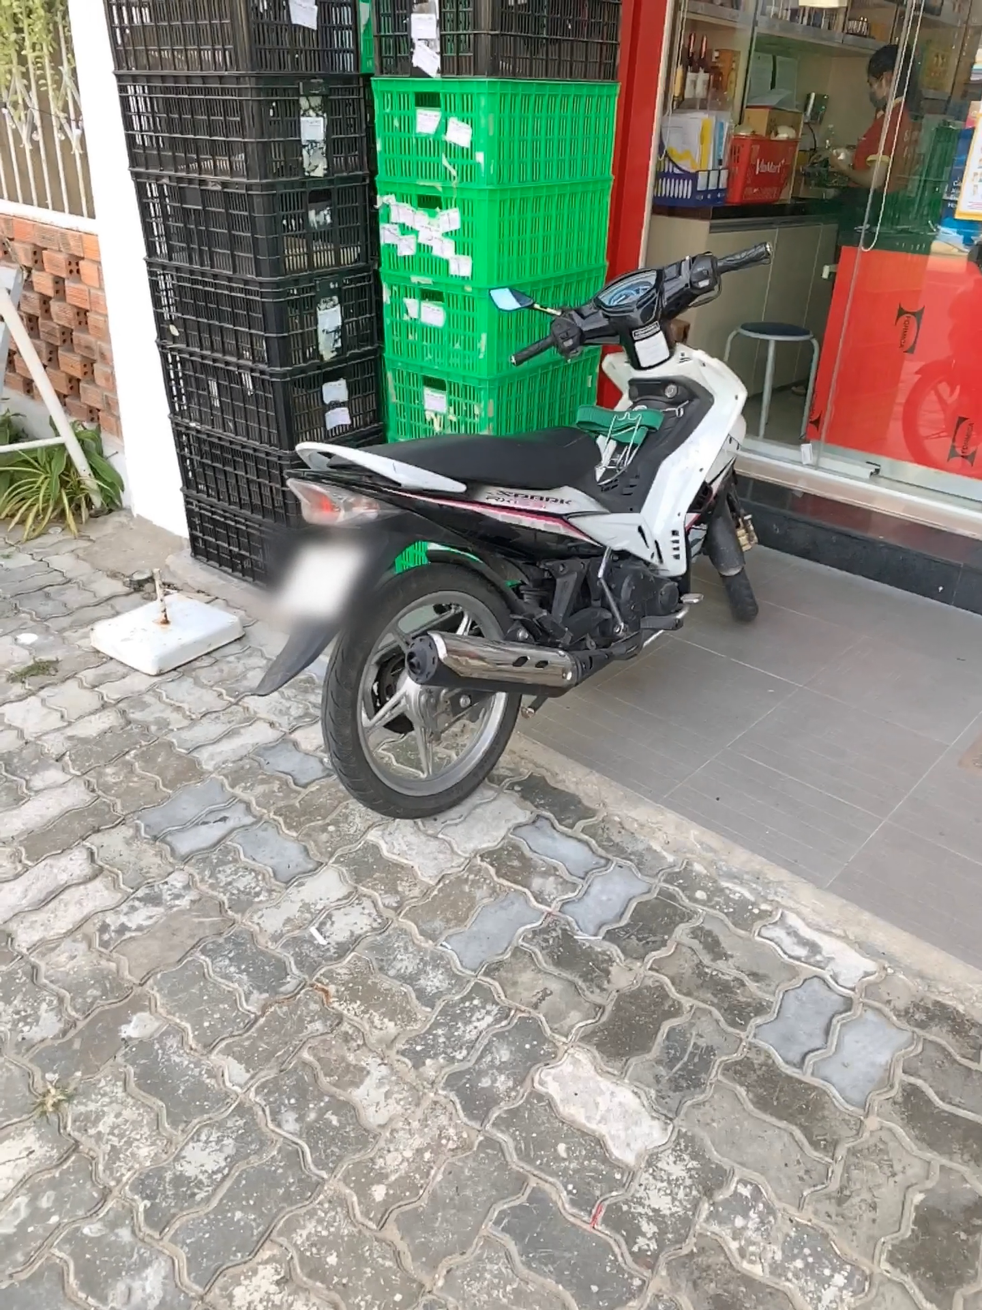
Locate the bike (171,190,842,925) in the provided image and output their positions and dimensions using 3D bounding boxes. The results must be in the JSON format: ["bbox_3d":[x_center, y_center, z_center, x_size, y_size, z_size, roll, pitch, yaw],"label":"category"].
[{"bbox_3d":[0.168,-0.455,2.582,0.668,1.186,1.820,20,34,30],"label":"bike"}]
